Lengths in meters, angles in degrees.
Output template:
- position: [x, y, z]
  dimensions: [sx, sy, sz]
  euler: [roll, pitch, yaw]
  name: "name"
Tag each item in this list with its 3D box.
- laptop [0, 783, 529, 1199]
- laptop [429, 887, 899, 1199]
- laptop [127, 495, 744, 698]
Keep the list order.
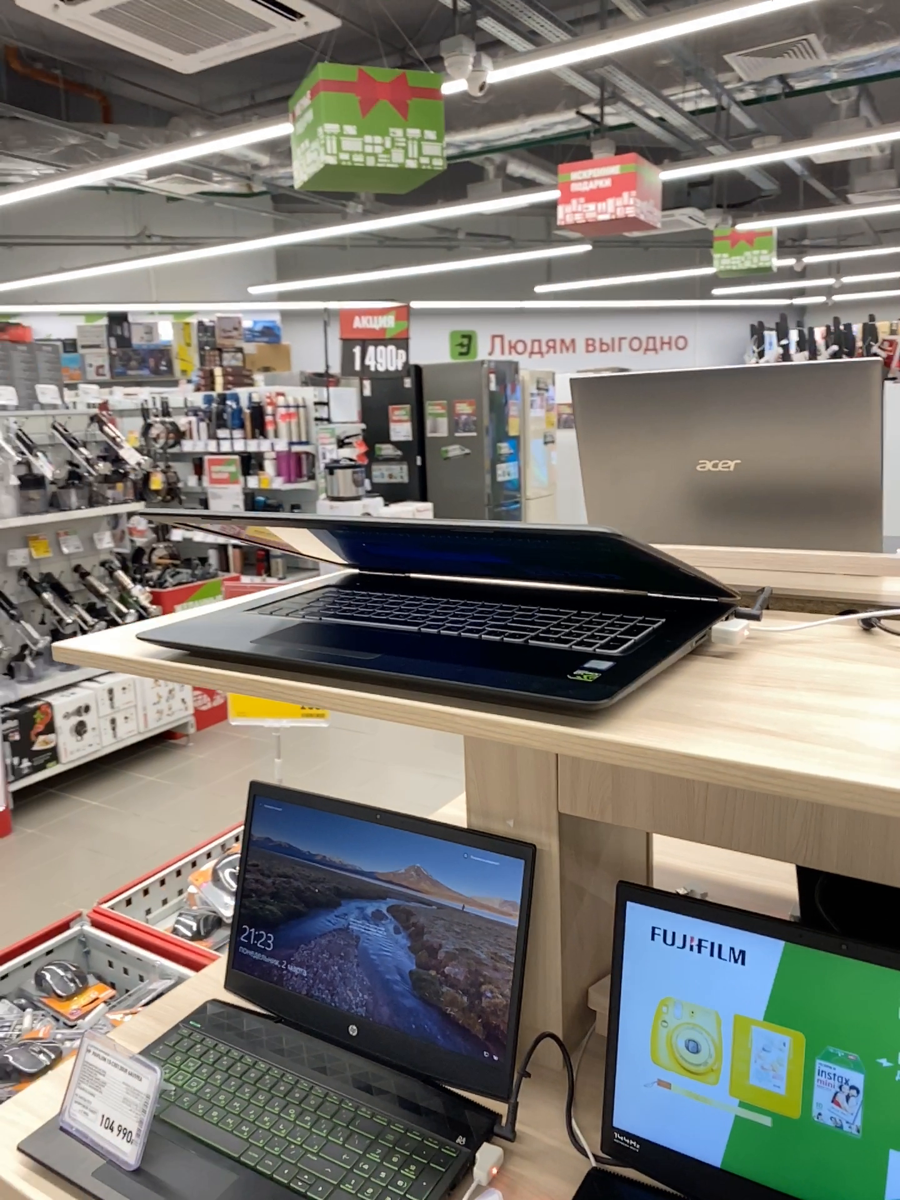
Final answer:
- position: [-0.152, 0.354, 0.826]
  dimensions: [0.344, 0.220, 0.314]
  euler: [6, 12, 30]
  name: "laptop"
- position: [0.223, 0.386, 0.572]
  dimensions: [0.354, 0.226, 0.299]
  euler: [4, 12, 32]
  name: "laptop"
- position: [-0.010, -0.026, 0.730]
  dimensions: [0.404, 0.084, 0.271]
  euler: [4, 14, 33]
  name: "laptop"
